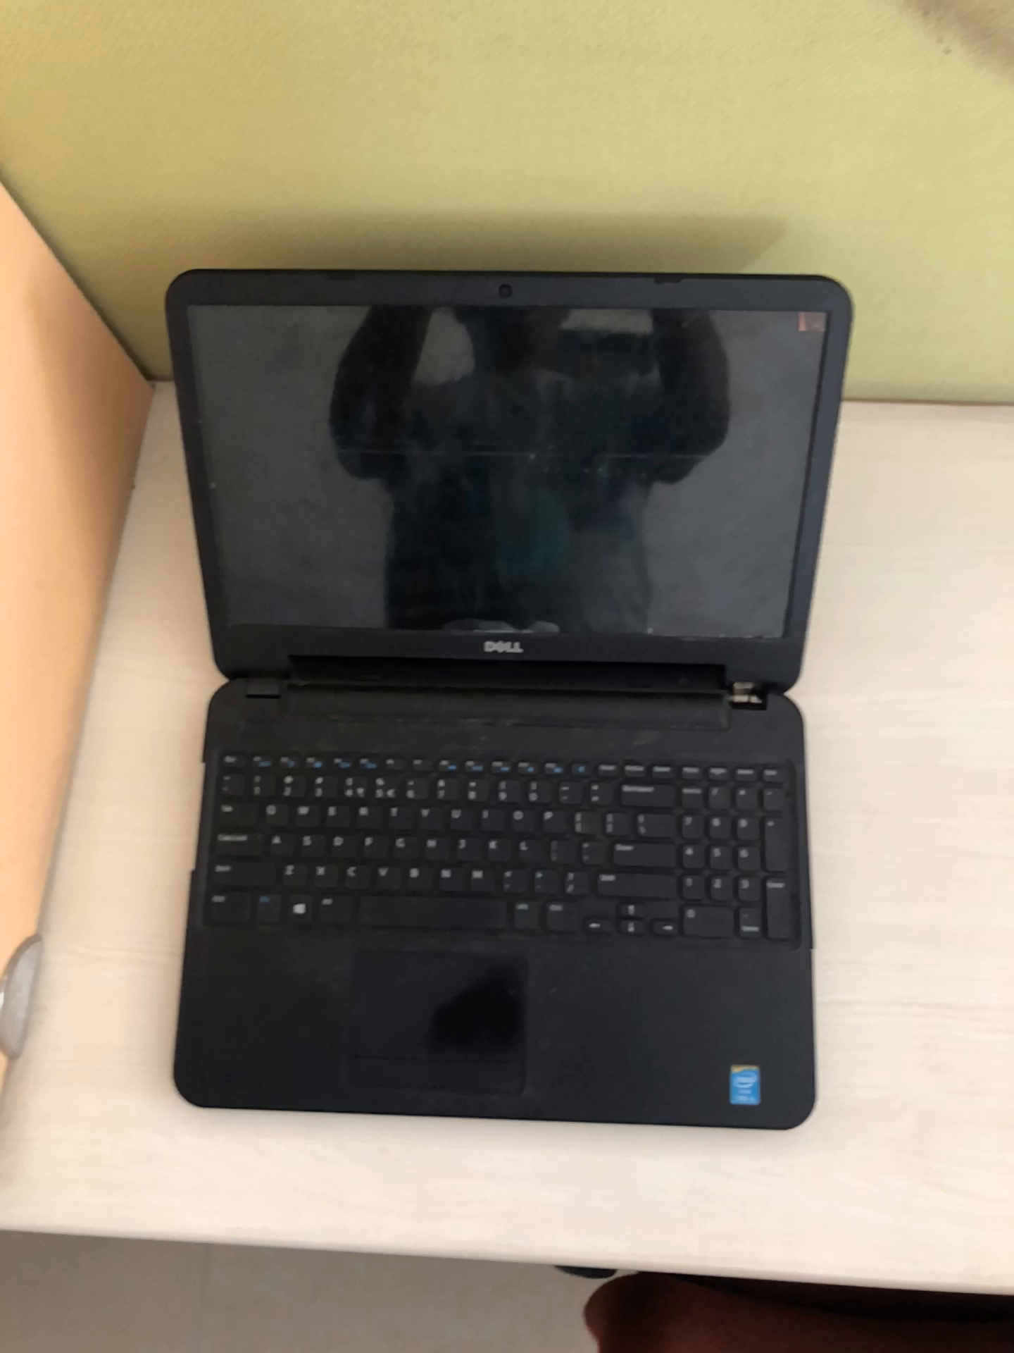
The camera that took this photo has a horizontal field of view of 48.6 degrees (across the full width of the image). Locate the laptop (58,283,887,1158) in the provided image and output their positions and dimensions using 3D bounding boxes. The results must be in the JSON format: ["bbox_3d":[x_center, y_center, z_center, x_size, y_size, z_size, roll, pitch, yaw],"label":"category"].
[{"bbox_3d":[-0.006,0.019,0.617,0.356,0.166,0.424,1,74,2],"label":"laptop"}]
